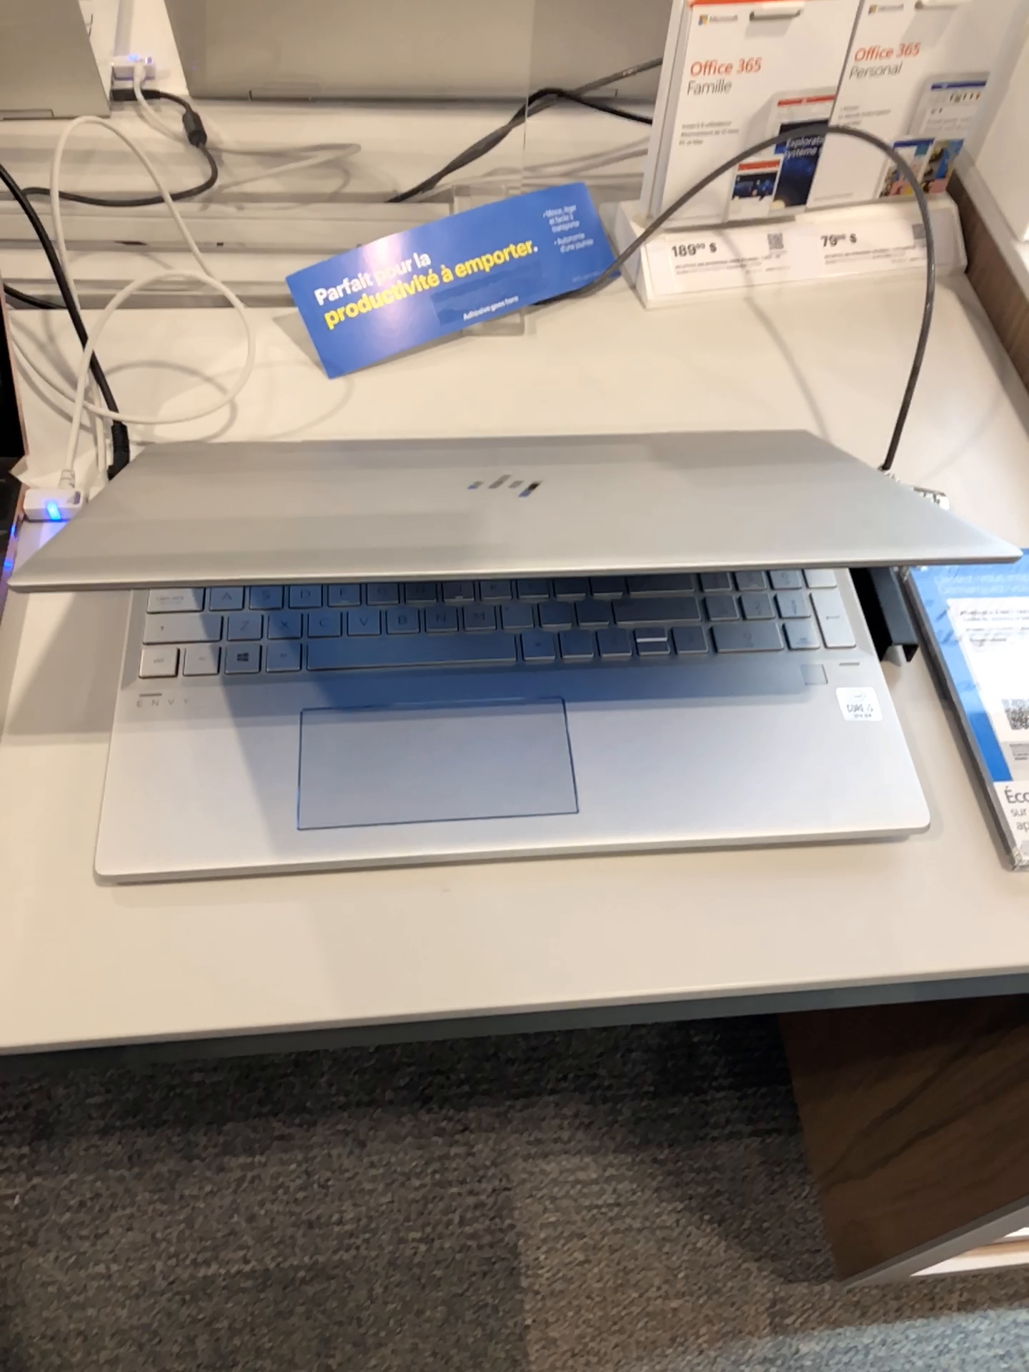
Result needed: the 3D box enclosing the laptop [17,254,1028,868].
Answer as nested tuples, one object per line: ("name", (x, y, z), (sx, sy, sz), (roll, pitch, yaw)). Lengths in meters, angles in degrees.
("laptop", (0.001, -0.061, 0.482), (0.346, 0.116, 0.230), (-2, 57, -4))
